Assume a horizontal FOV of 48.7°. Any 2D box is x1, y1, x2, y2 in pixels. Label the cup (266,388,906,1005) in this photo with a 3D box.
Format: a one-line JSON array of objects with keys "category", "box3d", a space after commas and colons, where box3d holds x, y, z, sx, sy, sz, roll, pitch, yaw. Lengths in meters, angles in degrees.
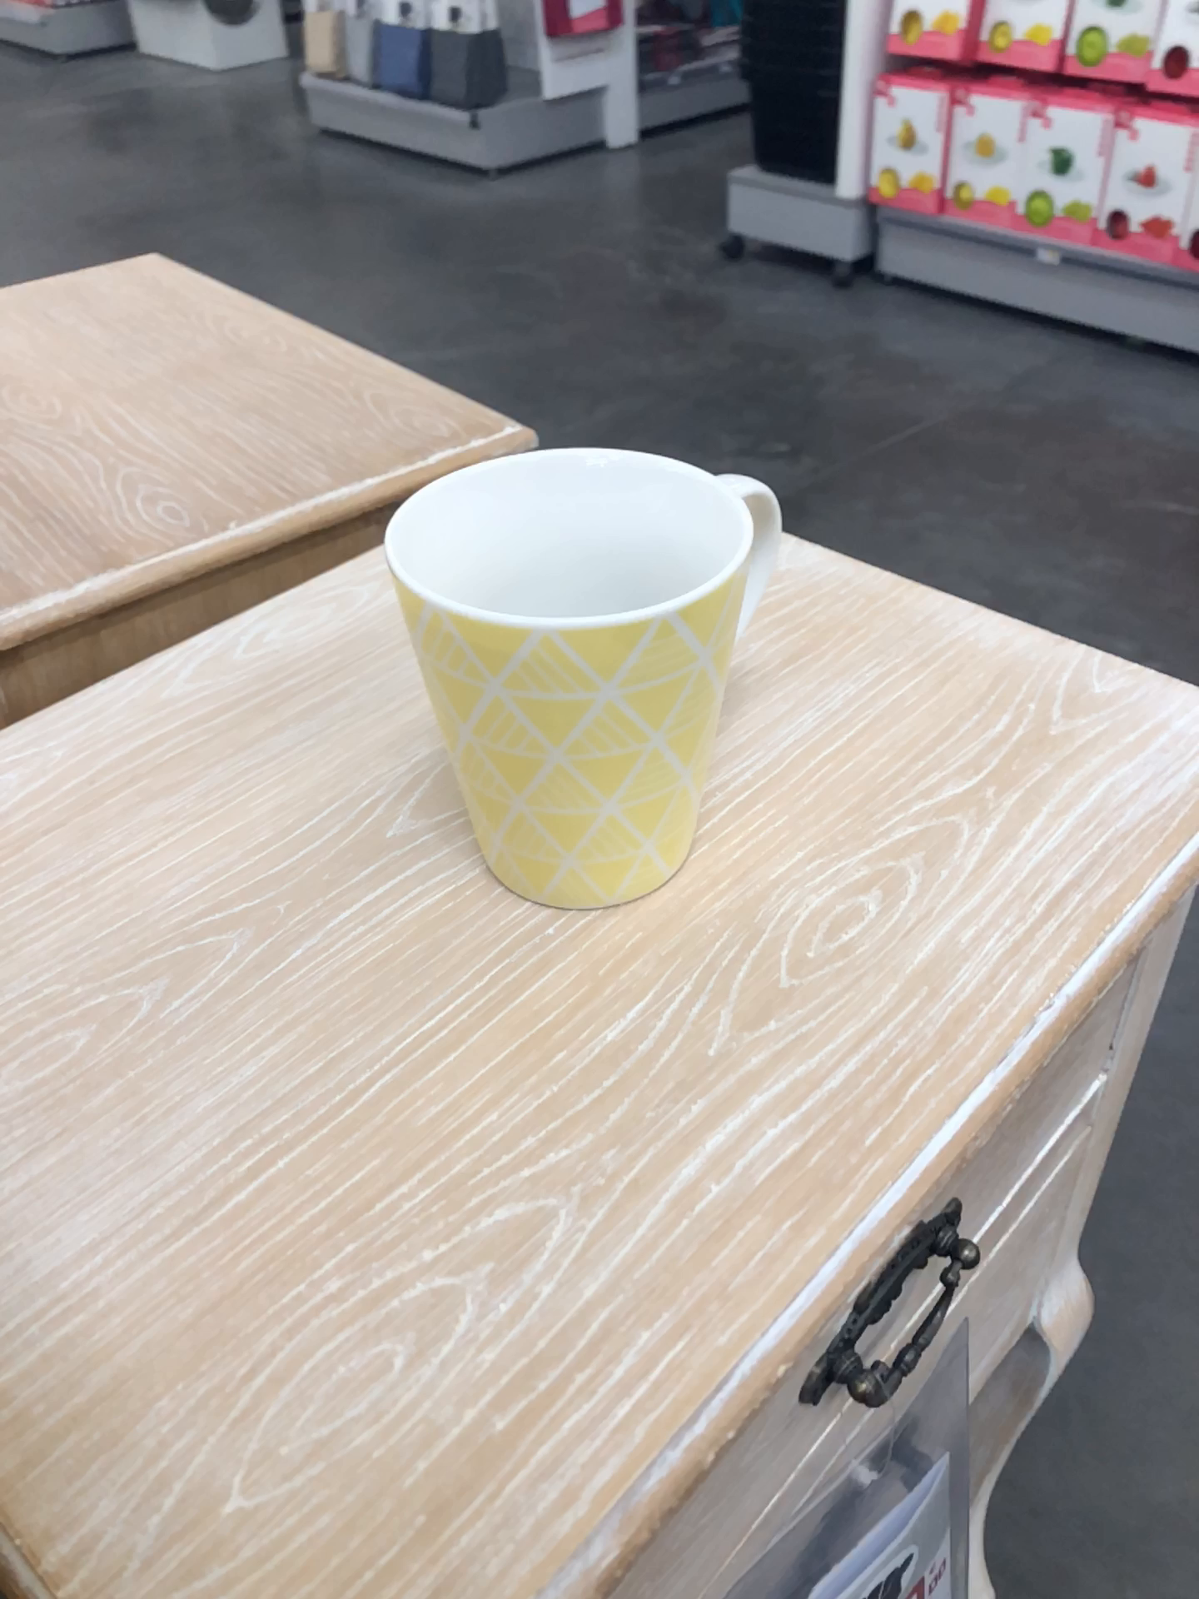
[{"category": "cup", "box3d": [0.001, -0.036, 0.354, 0.102, 0.090, 0.126, 25, 46, 31]}]
